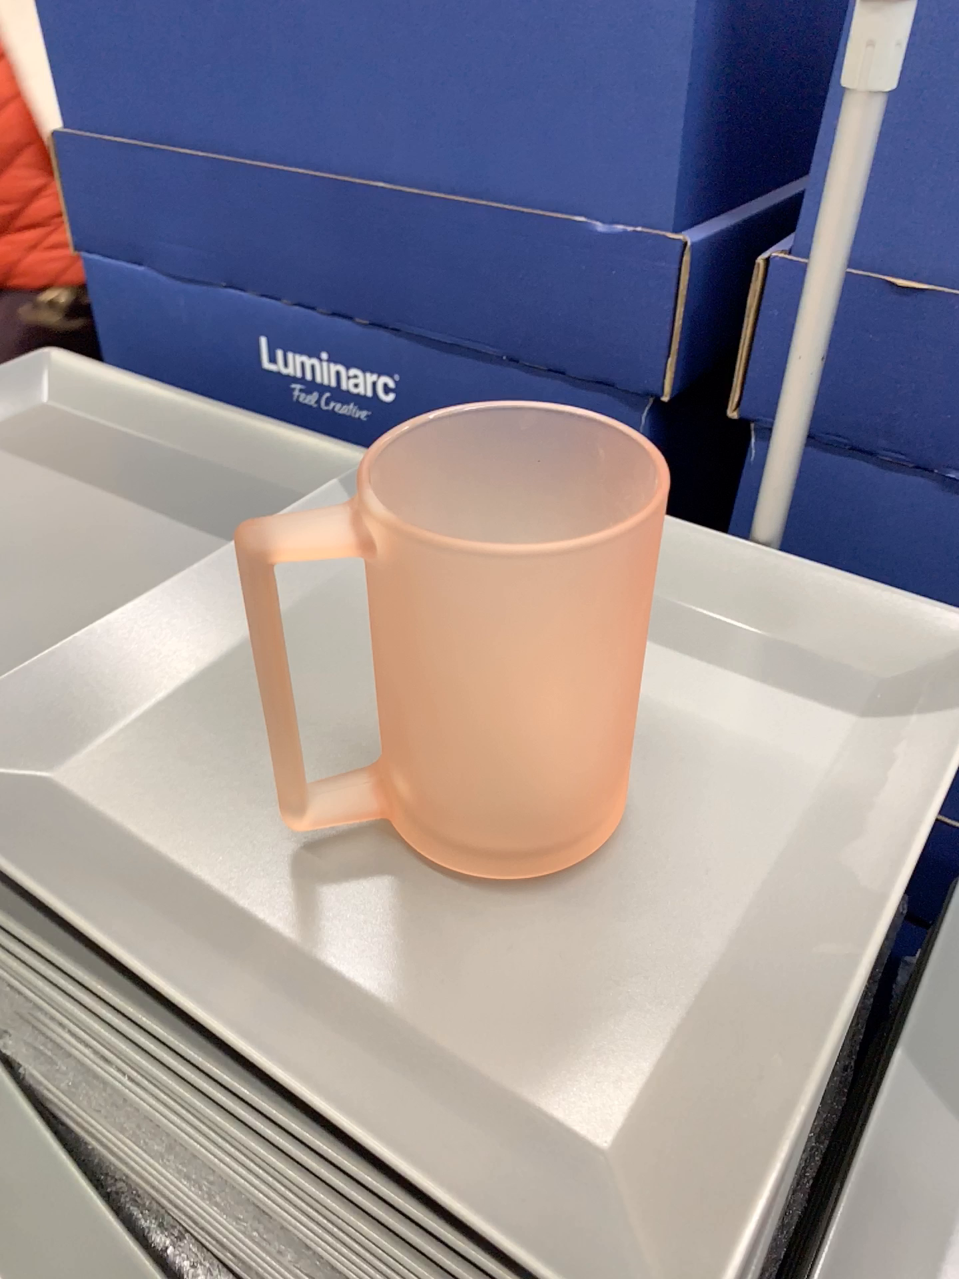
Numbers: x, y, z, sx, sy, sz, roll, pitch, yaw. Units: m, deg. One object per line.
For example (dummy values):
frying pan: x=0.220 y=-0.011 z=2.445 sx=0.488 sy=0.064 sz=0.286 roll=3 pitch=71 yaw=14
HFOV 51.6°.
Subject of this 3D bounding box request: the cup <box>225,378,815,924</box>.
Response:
cup: x=0.000 y=-0.003 z=0.261 sx=0.120 sy=0.095 sz=0.095 roll=-5 pitch=36 yaw=-10
